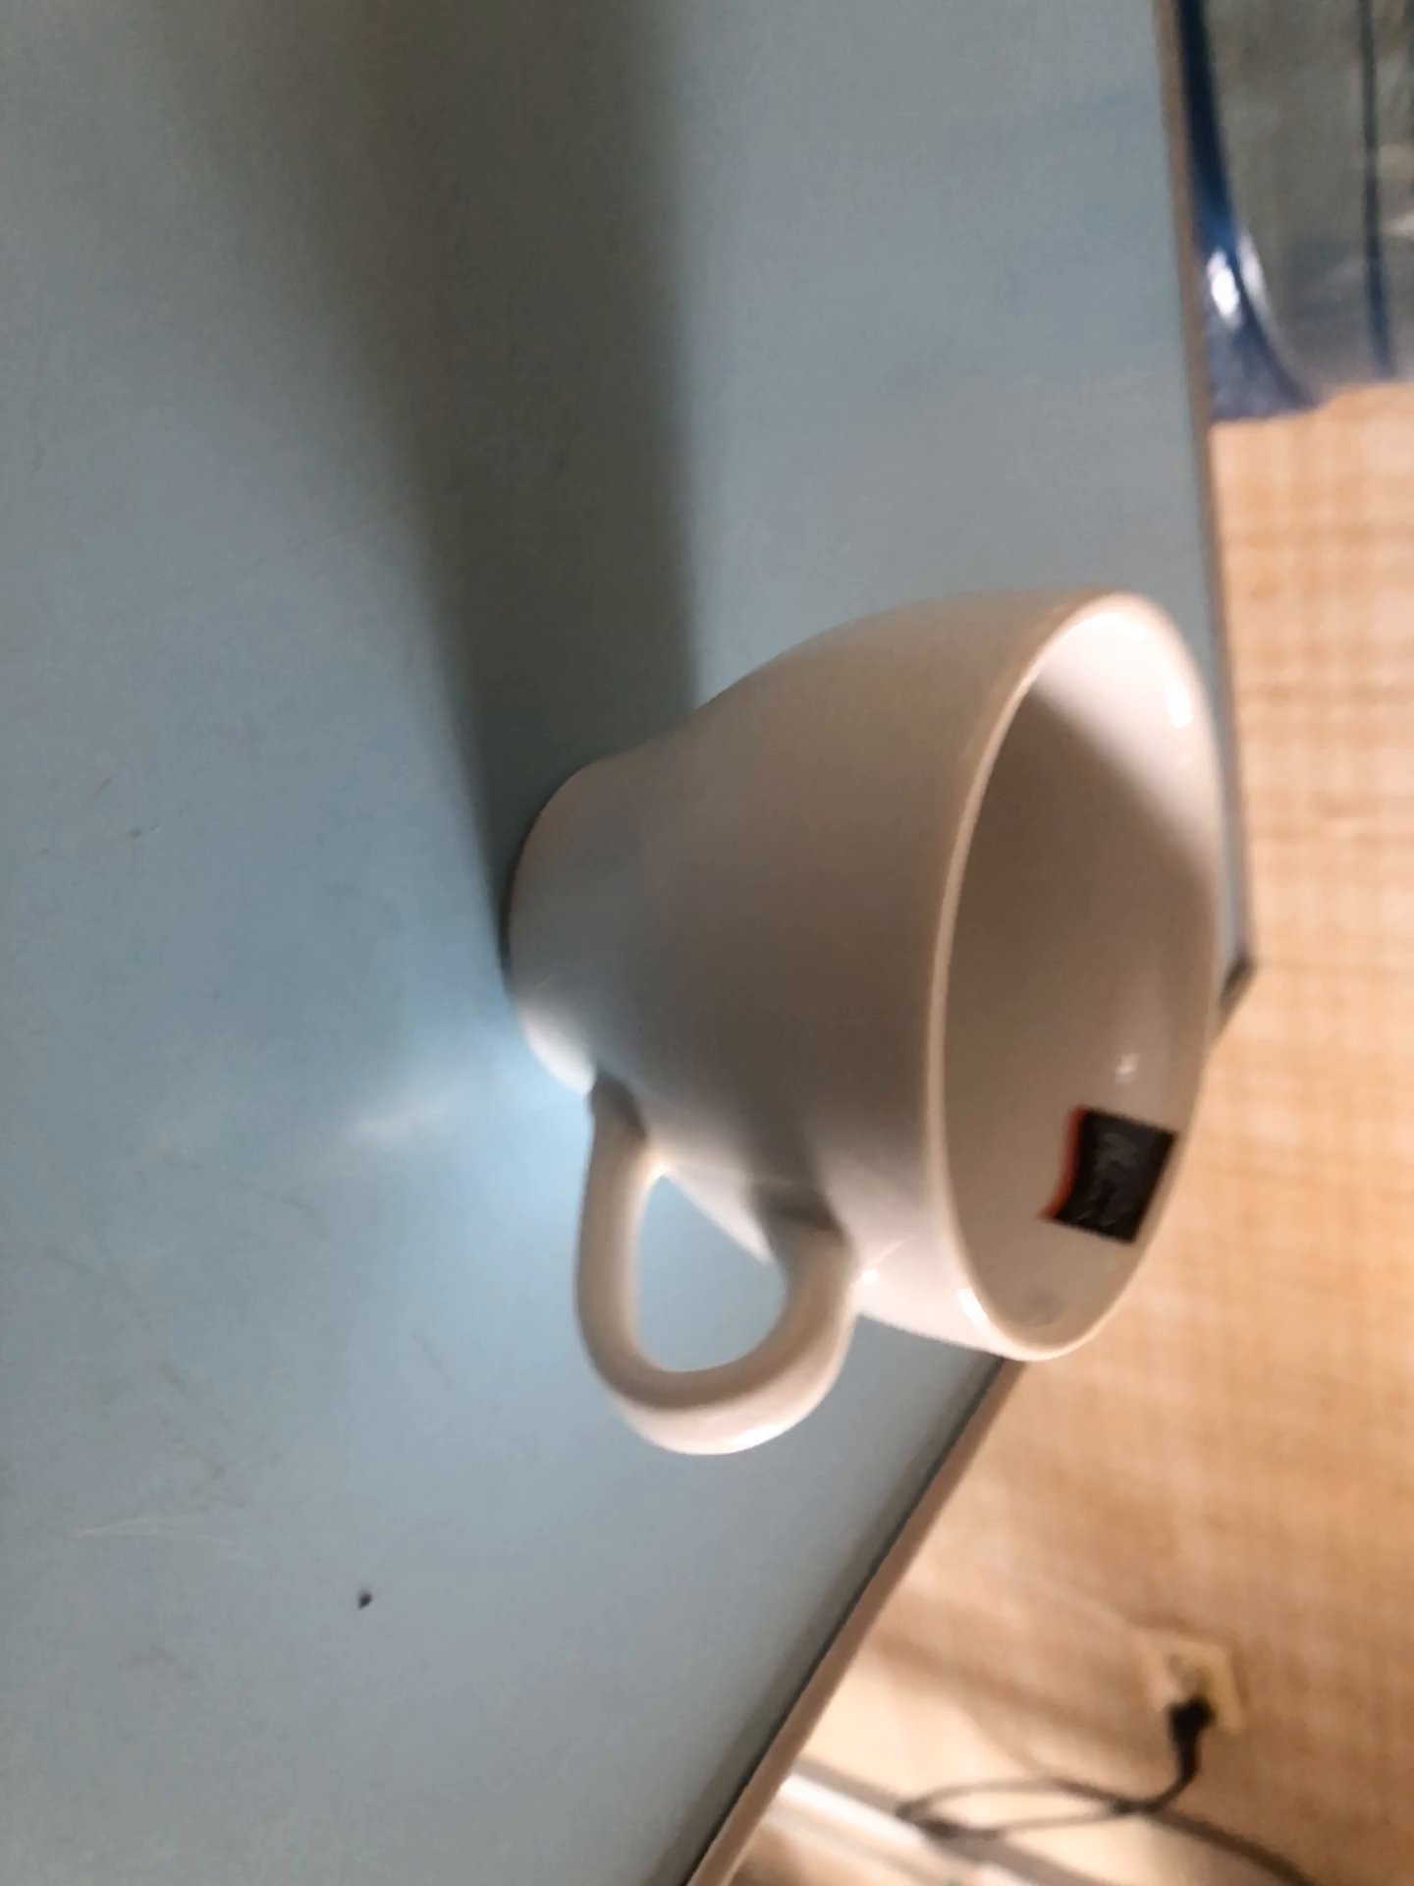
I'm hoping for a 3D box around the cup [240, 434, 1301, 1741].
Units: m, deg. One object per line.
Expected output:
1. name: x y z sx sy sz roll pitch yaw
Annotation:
1. cup: 0.022 0.014 0.189 0.107 0.057 0.097 -59 137 -32
